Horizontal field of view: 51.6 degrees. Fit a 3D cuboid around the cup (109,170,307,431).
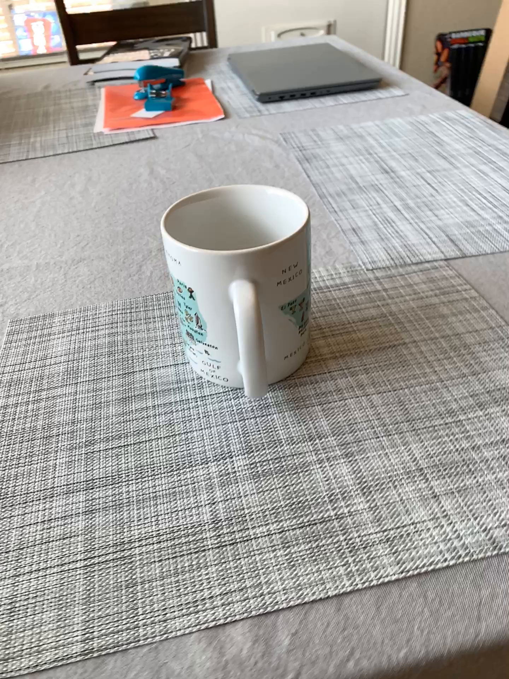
[{"bbox_3d":[-0.019,-0.035,0.408,0.111,0.136,0.151,2,40,8],"label":"cup"}]
